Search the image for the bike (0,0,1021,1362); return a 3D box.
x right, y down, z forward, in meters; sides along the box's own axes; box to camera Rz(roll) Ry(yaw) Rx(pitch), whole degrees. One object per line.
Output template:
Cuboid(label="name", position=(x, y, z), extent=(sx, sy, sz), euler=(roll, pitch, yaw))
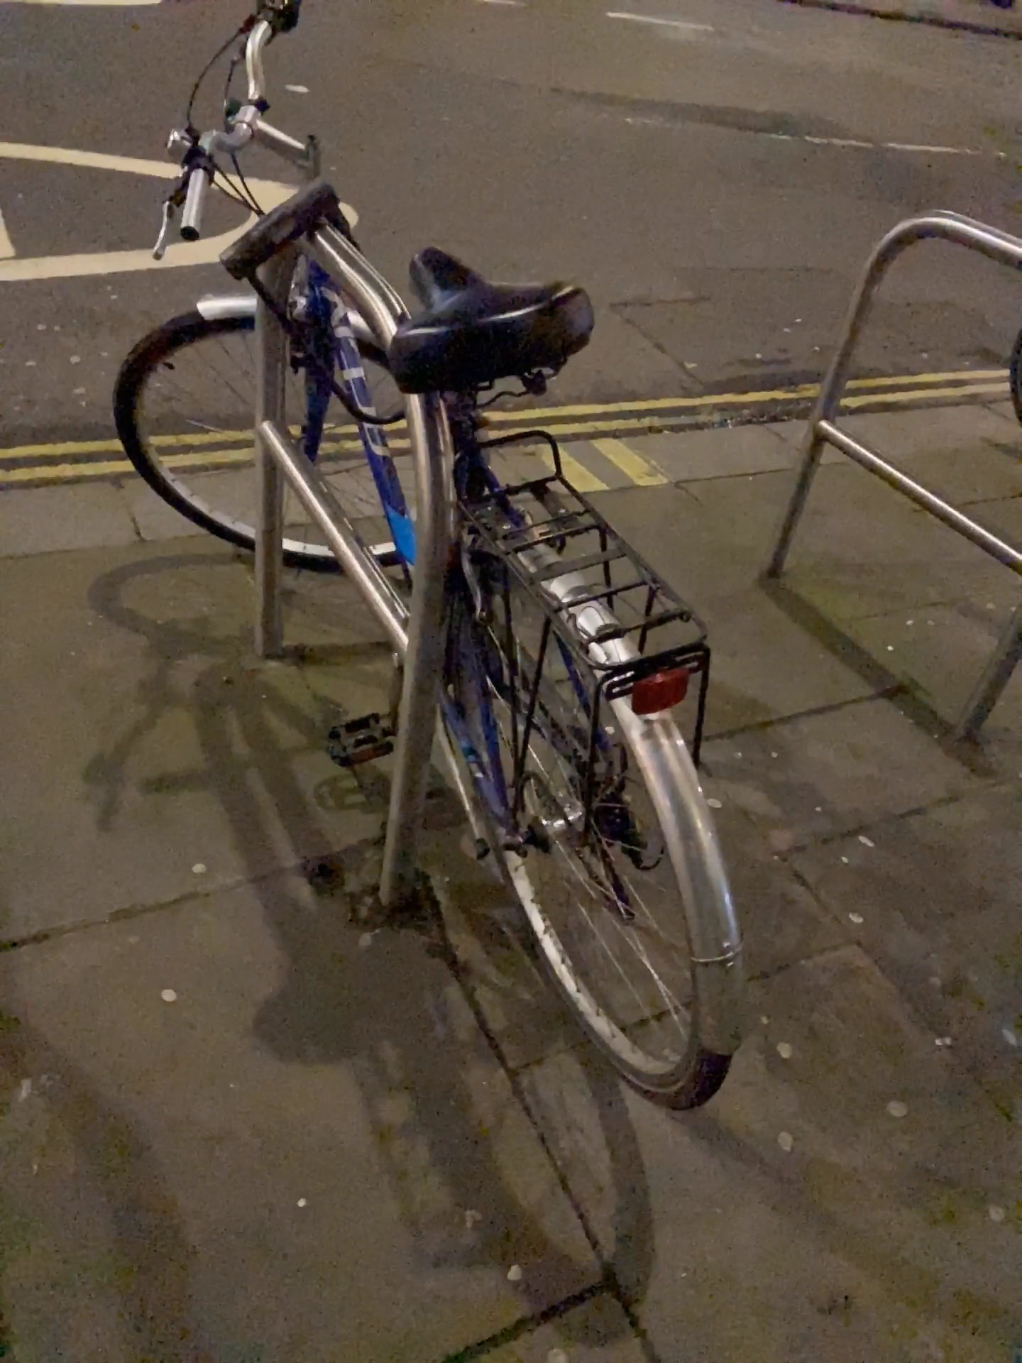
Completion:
Cuboid(label="bike", position=(-0.243, -0.241, 1.348), extent=(0.657, 1.108, 1.600), euler=(-19, 48, -31))
